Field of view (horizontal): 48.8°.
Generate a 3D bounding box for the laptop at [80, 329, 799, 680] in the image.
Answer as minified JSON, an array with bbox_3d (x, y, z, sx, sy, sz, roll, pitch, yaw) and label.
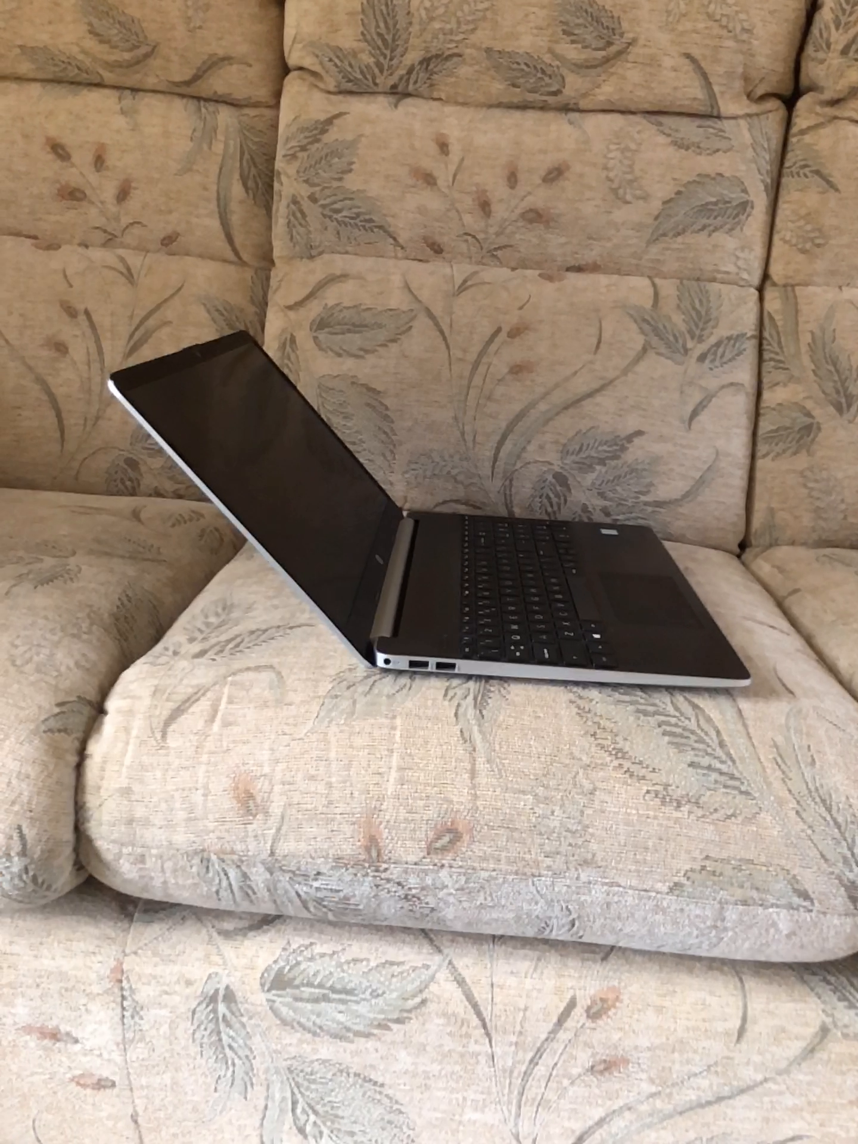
[{"bbox_3d":[0.012,-0.074,0.718,0.397,0.163,0.340,4,20,0],"label":"laptop"}]
